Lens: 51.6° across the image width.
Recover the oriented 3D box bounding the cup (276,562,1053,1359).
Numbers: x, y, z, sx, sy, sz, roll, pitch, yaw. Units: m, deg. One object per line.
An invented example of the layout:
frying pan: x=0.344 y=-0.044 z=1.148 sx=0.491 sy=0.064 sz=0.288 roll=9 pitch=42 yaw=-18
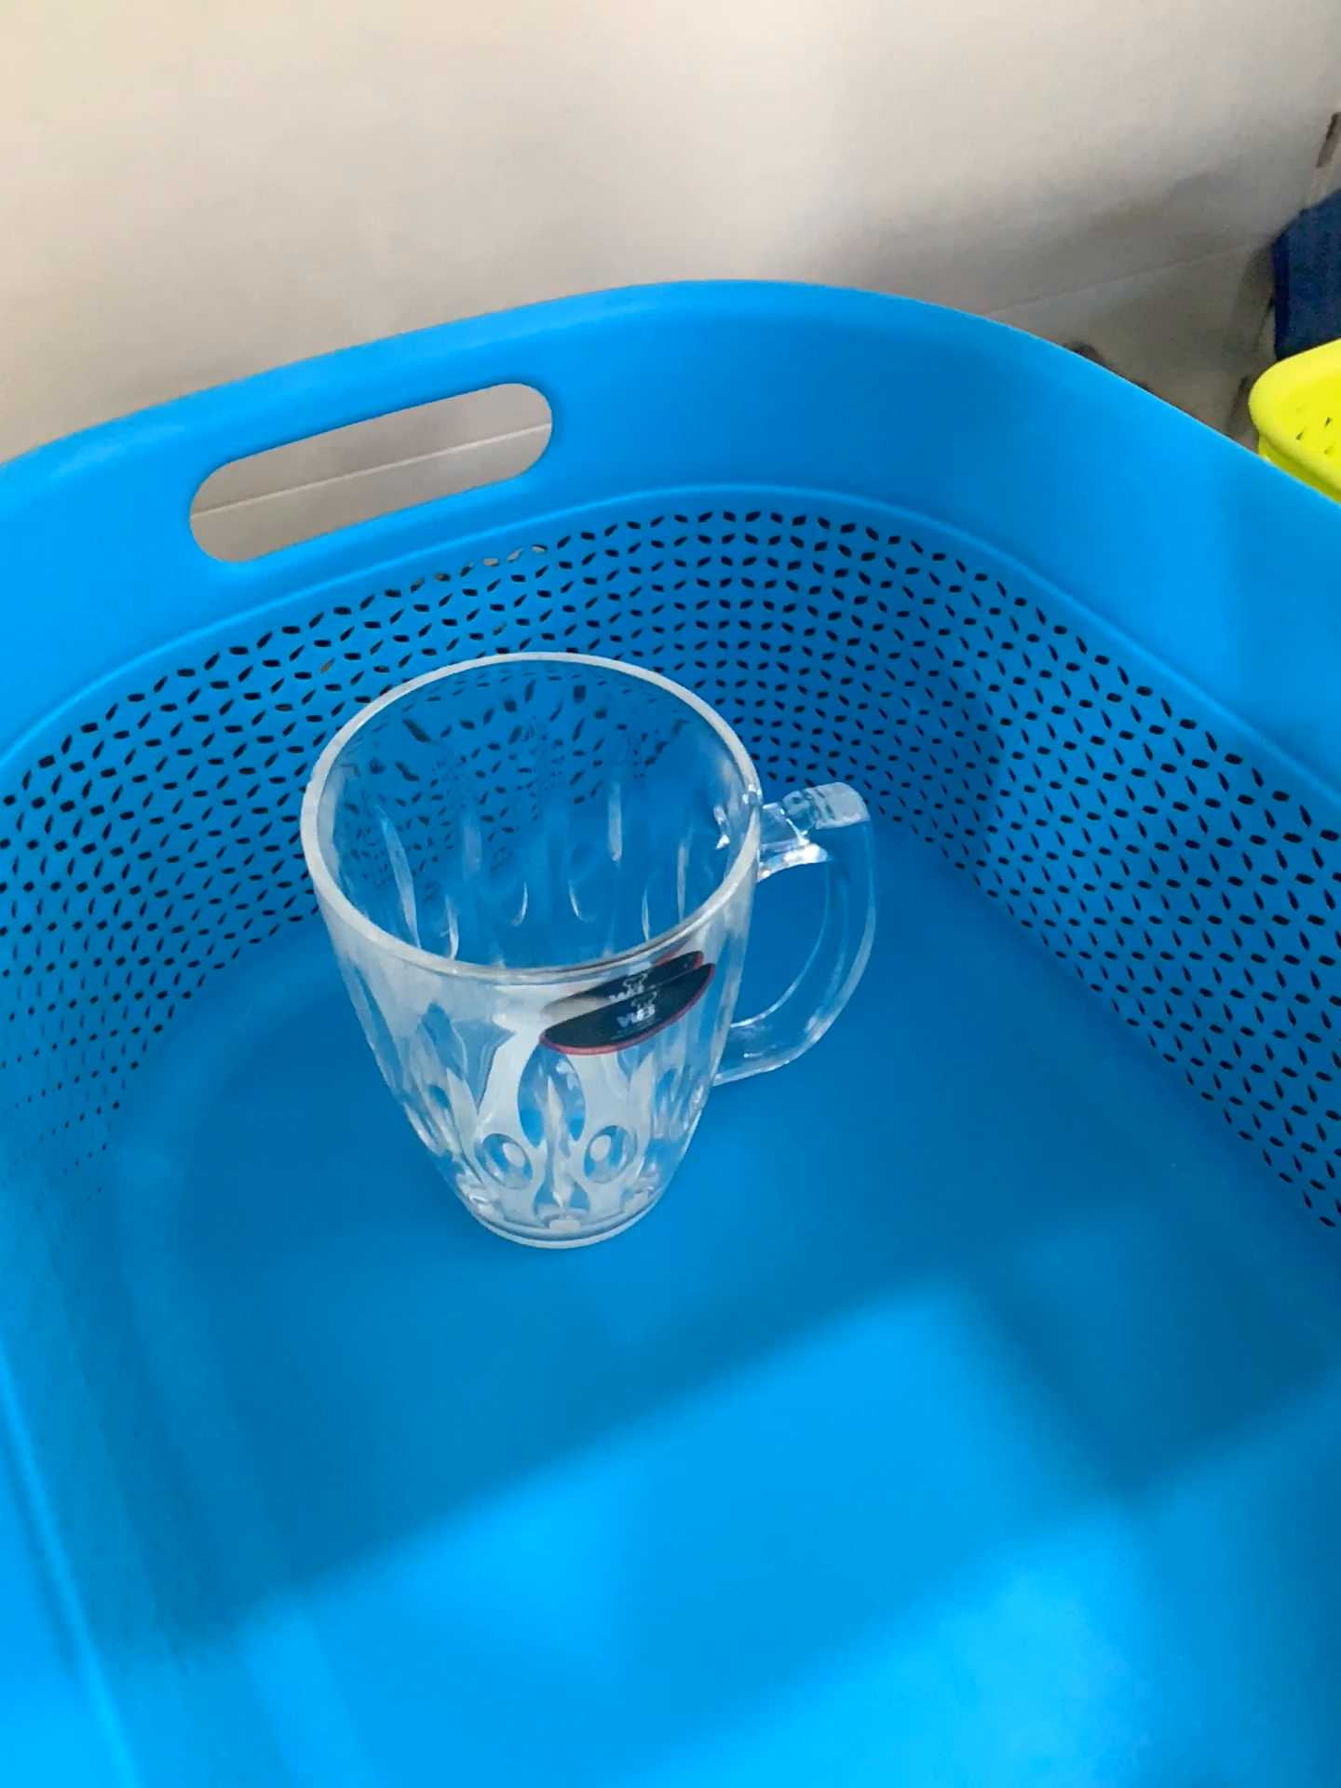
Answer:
cup: x=-0.004 y=0.014 z=0.278 sx=0.110 sy=0.109 sz=0.081 roll=-17 pitch=52 yaw=-15
